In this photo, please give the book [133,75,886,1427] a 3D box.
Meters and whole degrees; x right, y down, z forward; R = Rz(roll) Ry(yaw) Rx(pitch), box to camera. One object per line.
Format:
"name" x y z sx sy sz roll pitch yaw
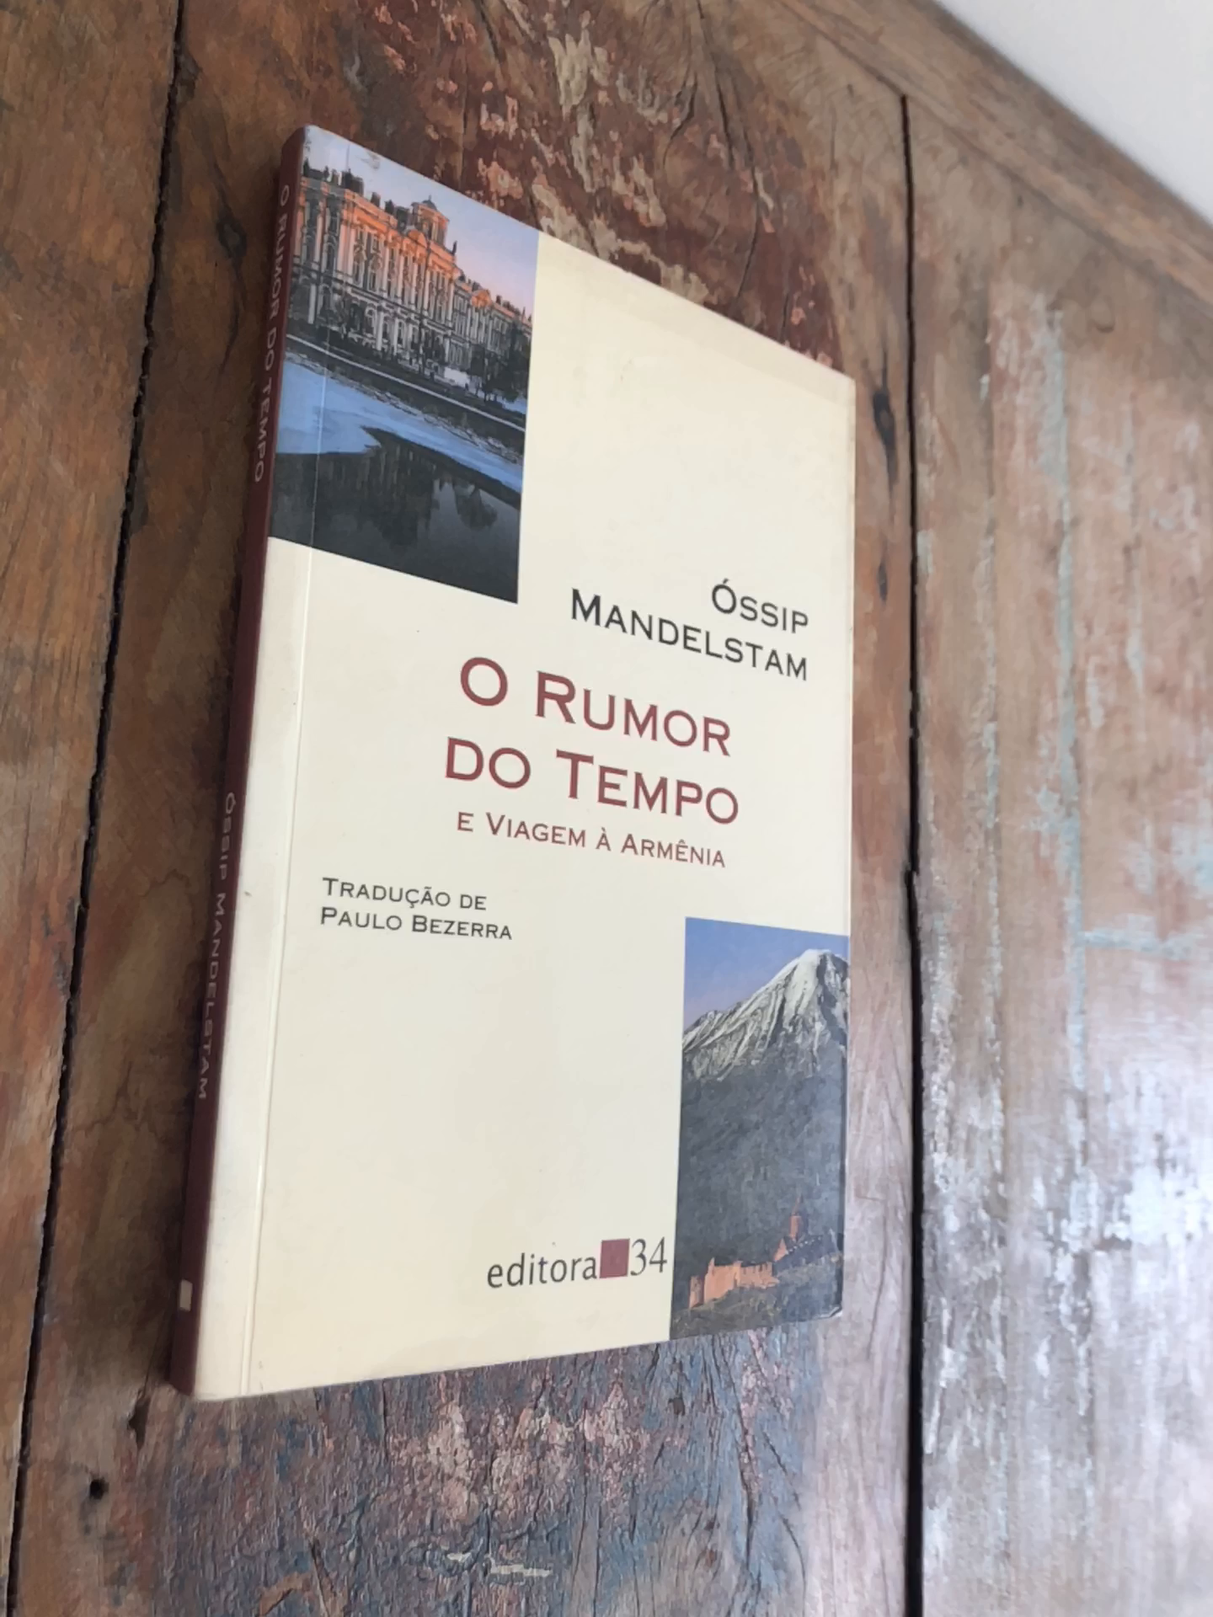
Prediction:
"book" -0.005 -0.007 0.253 0.141 0.022 0.207 9 79 -36
